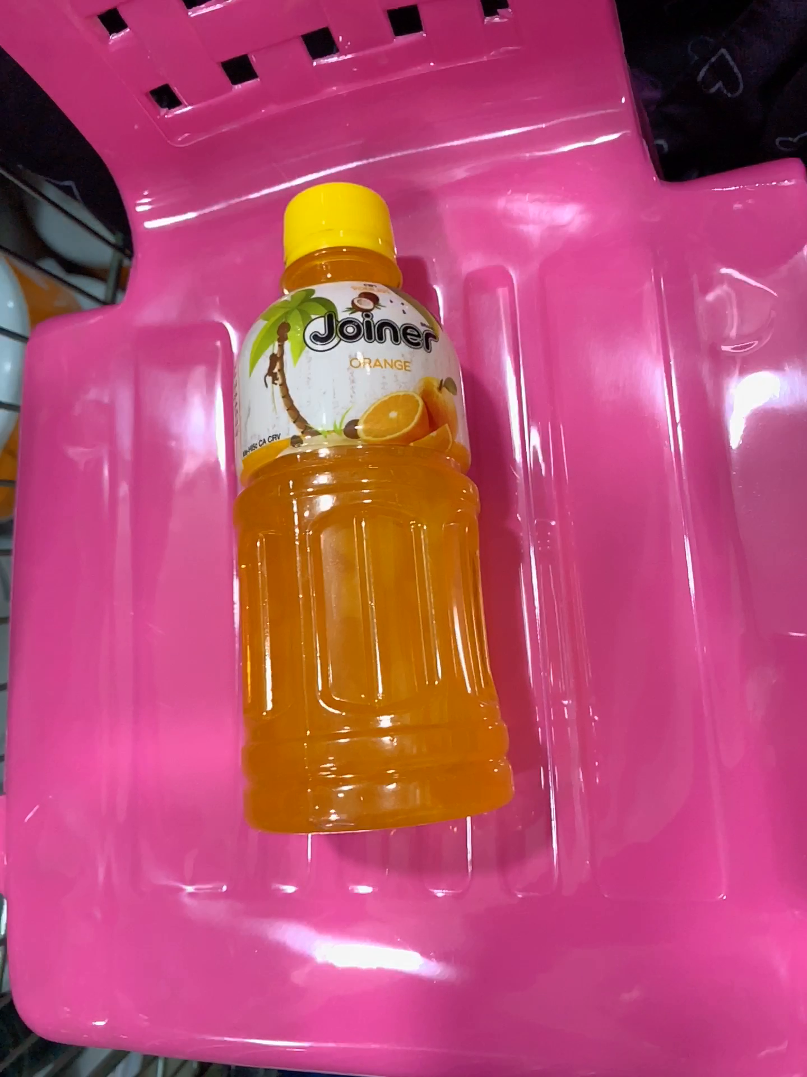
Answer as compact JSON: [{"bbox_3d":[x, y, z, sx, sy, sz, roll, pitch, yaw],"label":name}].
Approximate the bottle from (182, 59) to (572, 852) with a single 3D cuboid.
[{"bbox_3d":[-0.010,-0.020,0.209,0.070,0.060,0.170,-4,81,-5],"label":"bottle"}]
